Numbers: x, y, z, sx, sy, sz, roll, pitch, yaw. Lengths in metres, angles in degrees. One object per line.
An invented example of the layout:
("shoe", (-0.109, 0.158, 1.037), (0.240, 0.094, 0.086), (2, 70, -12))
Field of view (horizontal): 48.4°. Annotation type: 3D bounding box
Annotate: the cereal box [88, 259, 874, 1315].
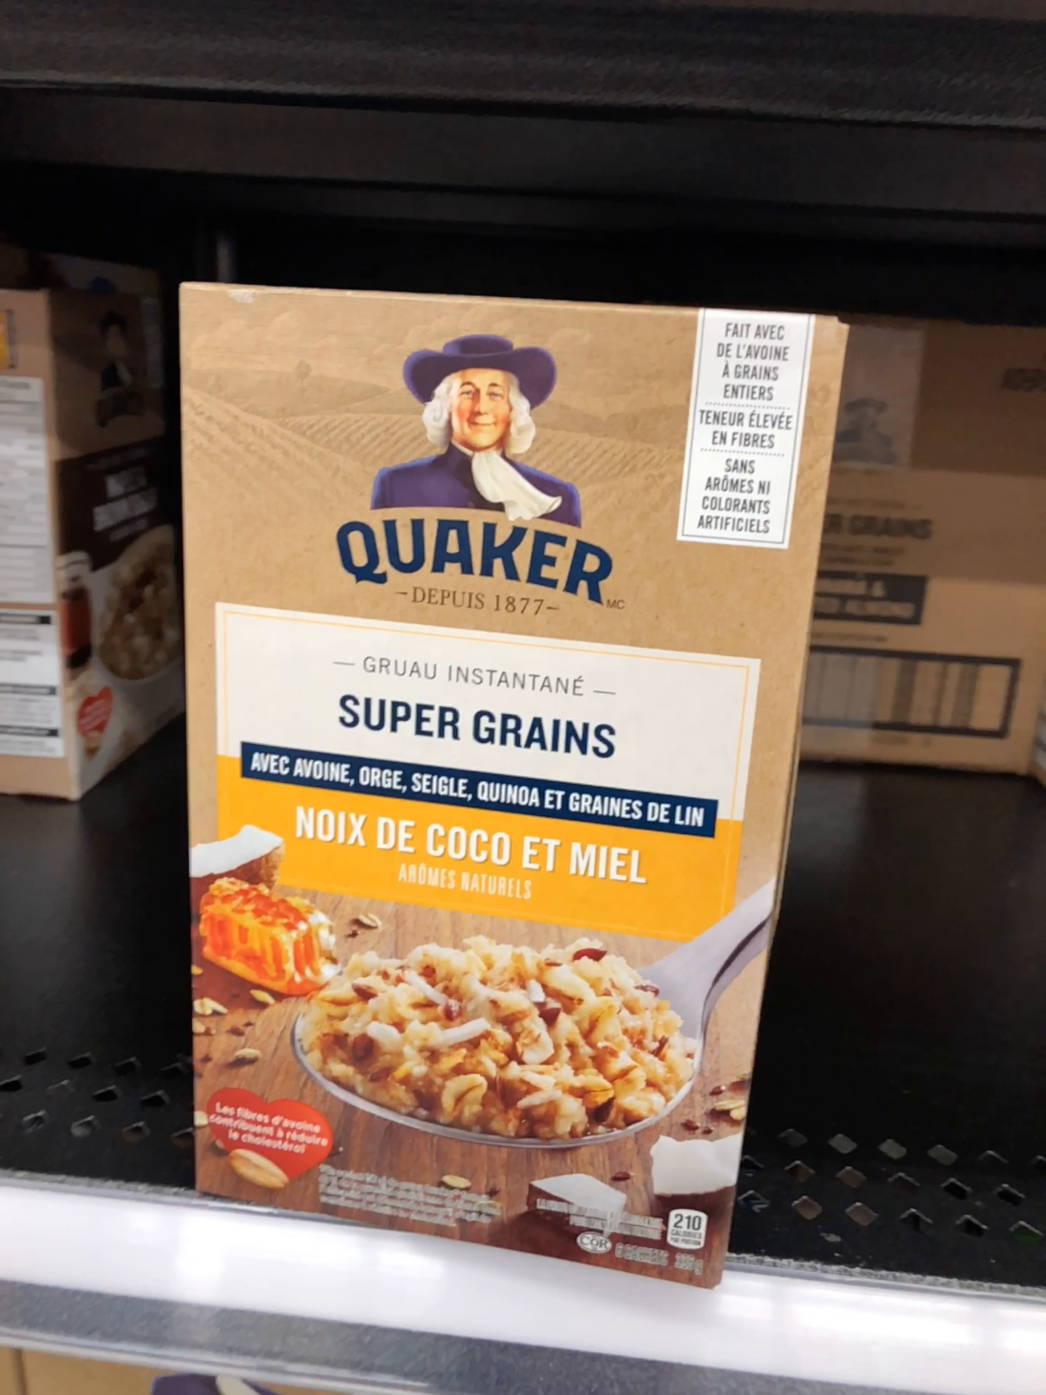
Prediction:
("cereal box", (-0.010, 0.017, 0.248), (0.130, 0.199, 0.060), (6, 18, 8))
